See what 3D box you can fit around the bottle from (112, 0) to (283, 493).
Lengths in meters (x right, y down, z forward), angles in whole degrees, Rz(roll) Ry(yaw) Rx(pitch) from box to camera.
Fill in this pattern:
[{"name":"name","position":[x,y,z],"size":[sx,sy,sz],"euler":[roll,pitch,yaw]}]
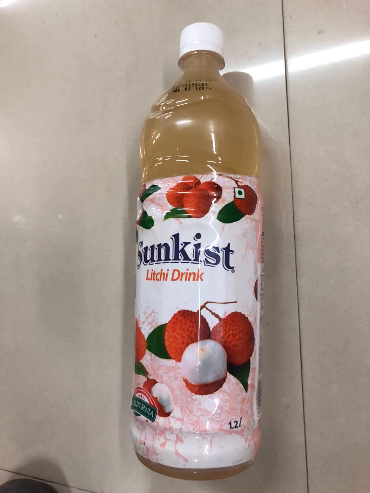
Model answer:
[{"name":"bottle","position":[0.012,-0.010,0.283],"size":[0.090,0.080,0.300],"euler":[-1,87,26]}]
